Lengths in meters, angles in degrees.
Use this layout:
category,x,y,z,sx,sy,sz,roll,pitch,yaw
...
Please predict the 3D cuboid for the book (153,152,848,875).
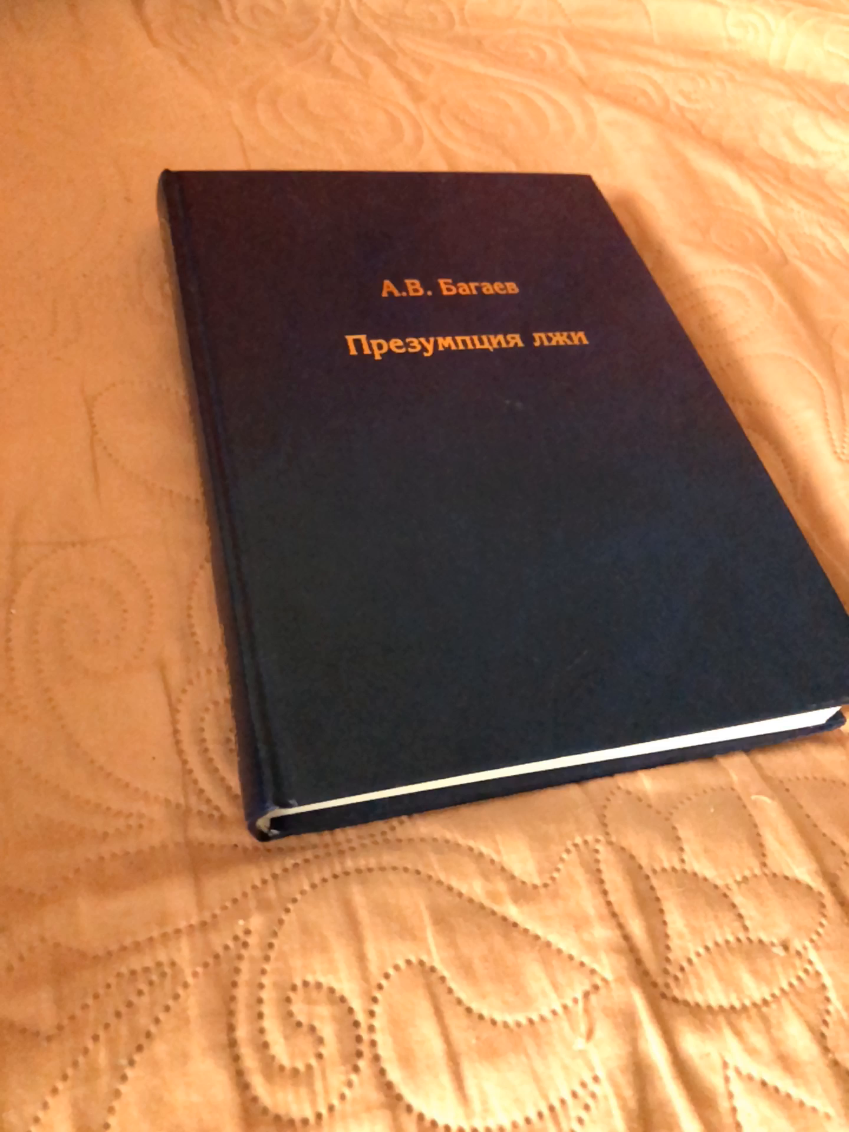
category,x,y,z,sx,sy,sz,roll,pitch,yaw
book,0.015,-0.048,0.314,0.180,0.030,0.261,-7,57,-16
